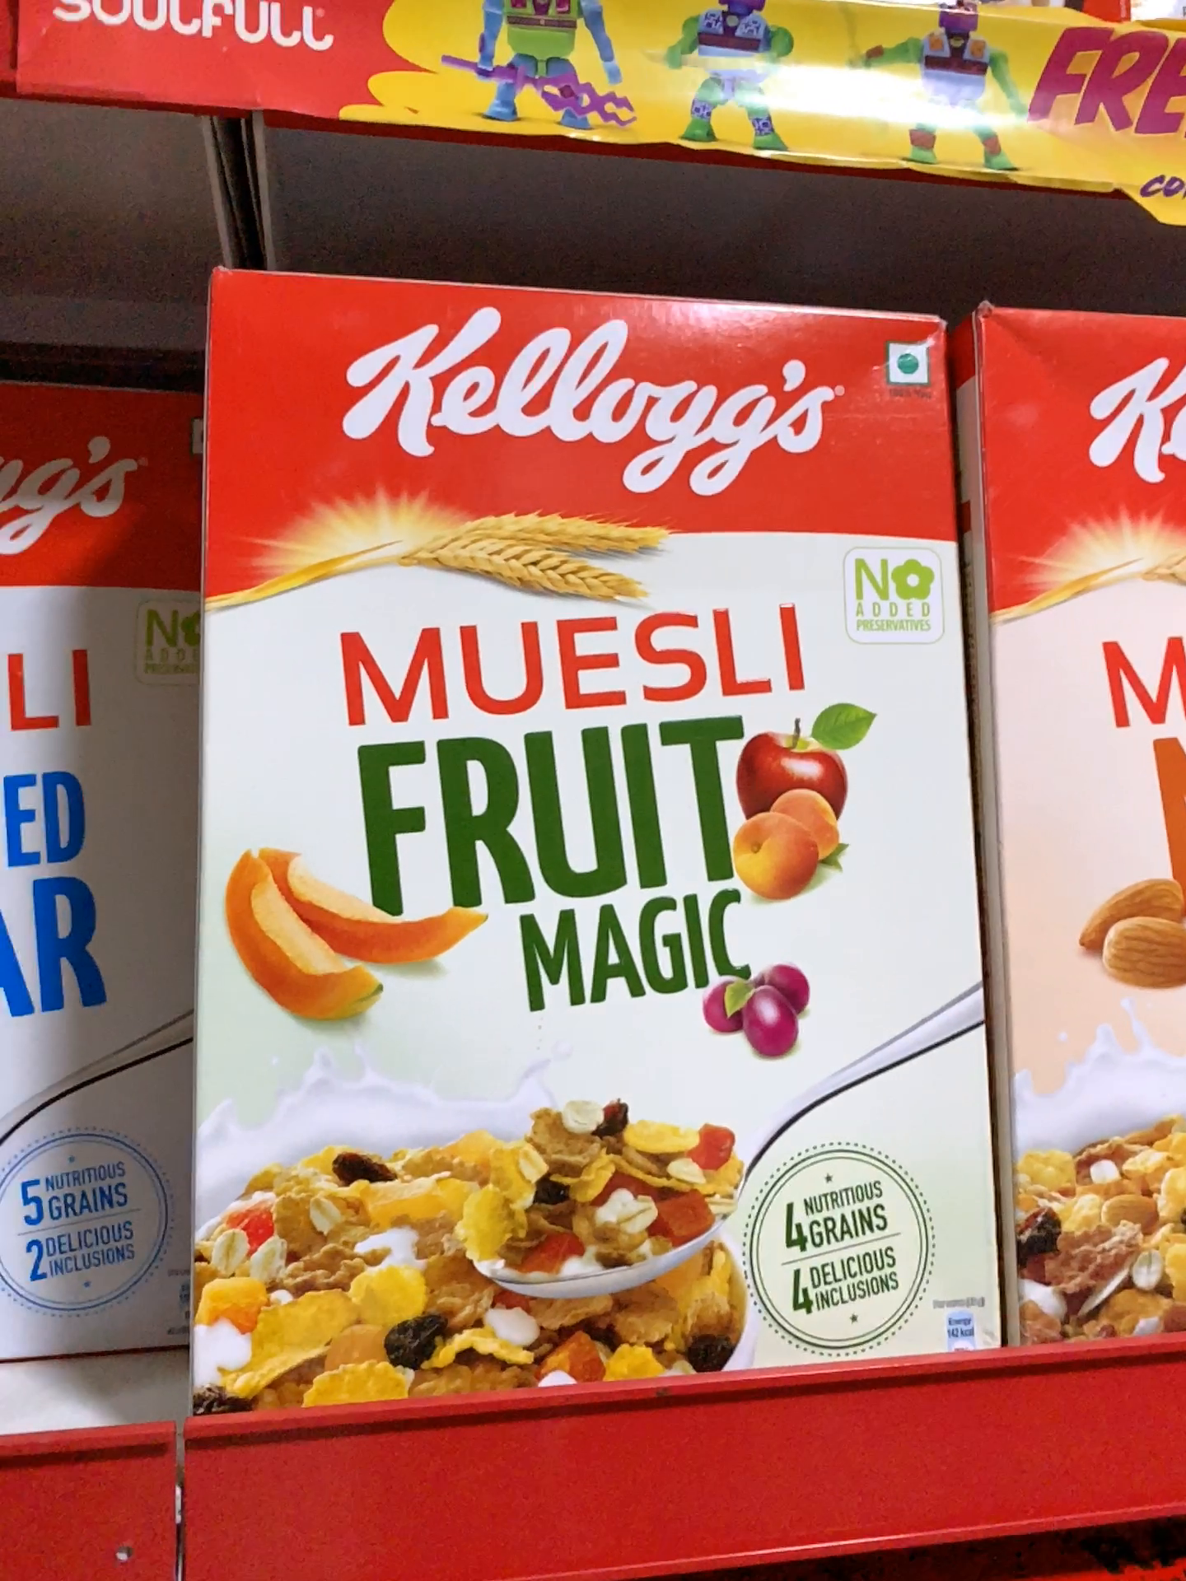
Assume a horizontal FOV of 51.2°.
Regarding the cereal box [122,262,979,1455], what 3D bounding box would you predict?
[{"bbox_3d":[-0.010,0.010,0.297,0.180,0.241,0.060,0,-6,-12],"label":"cereal box"}]
